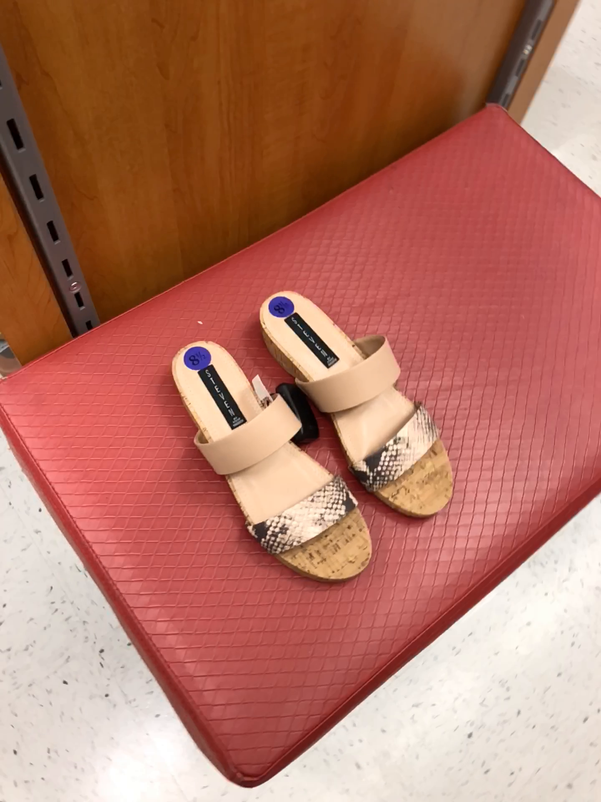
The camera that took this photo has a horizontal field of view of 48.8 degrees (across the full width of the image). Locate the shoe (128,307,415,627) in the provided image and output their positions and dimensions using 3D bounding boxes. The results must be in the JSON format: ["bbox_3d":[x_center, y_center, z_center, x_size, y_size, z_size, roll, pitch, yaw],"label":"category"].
[{"bbox_3d":[-0.032,0.053,0.575,0.095,0.085,0.257,-35,72,-19],"label":"shoe"}]

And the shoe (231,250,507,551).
[{"bbox_3d":[0.051,-0.004,0.608,0.096,0.085,0.257,-33,72,-19],"label":"shoe"}]
